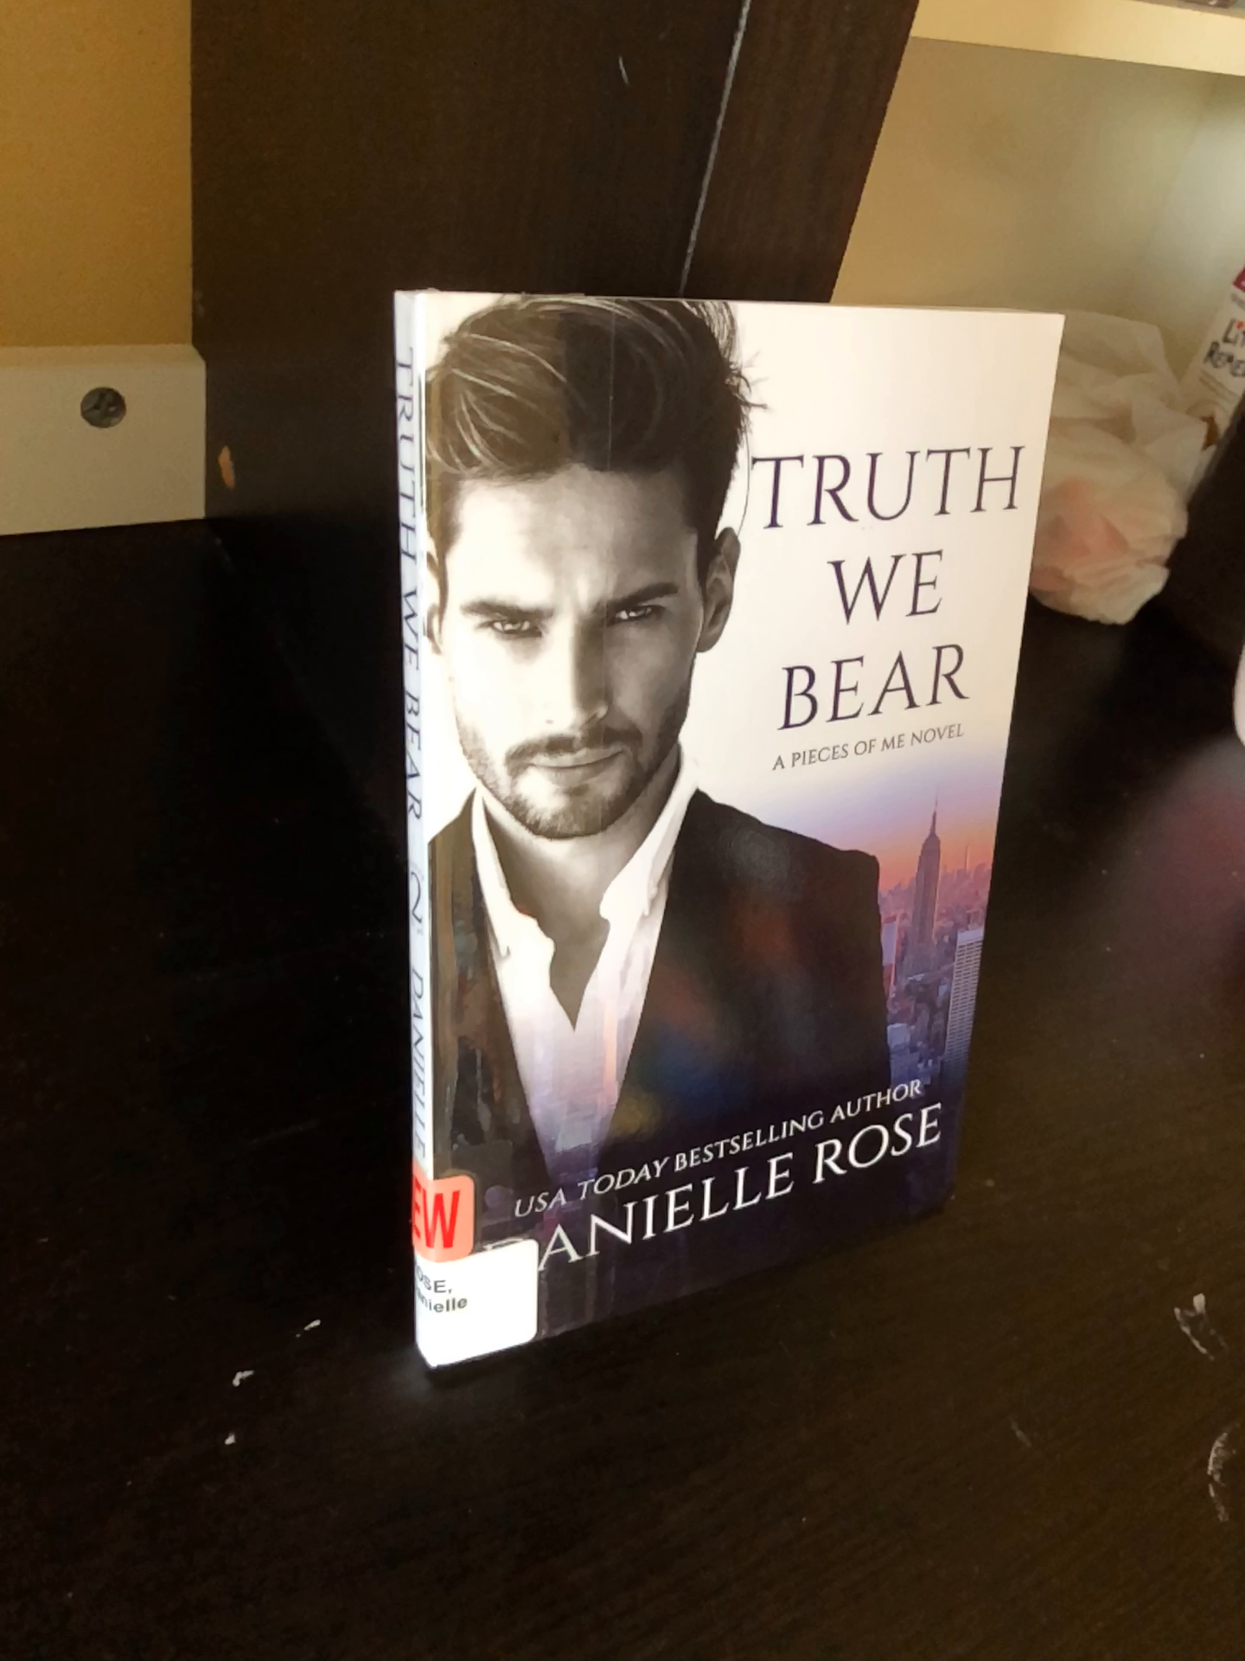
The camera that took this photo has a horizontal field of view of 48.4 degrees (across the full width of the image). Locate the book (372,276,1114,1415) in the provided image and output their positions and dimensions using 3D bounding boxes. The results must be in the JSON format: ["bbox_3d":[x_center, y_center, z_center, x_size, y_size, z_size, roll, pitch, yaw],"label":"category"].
[{"bbox_3d":[0.025,0.005,0.291,0.150,0.220,0.020,-11,26,-29],"label":"book"}]
